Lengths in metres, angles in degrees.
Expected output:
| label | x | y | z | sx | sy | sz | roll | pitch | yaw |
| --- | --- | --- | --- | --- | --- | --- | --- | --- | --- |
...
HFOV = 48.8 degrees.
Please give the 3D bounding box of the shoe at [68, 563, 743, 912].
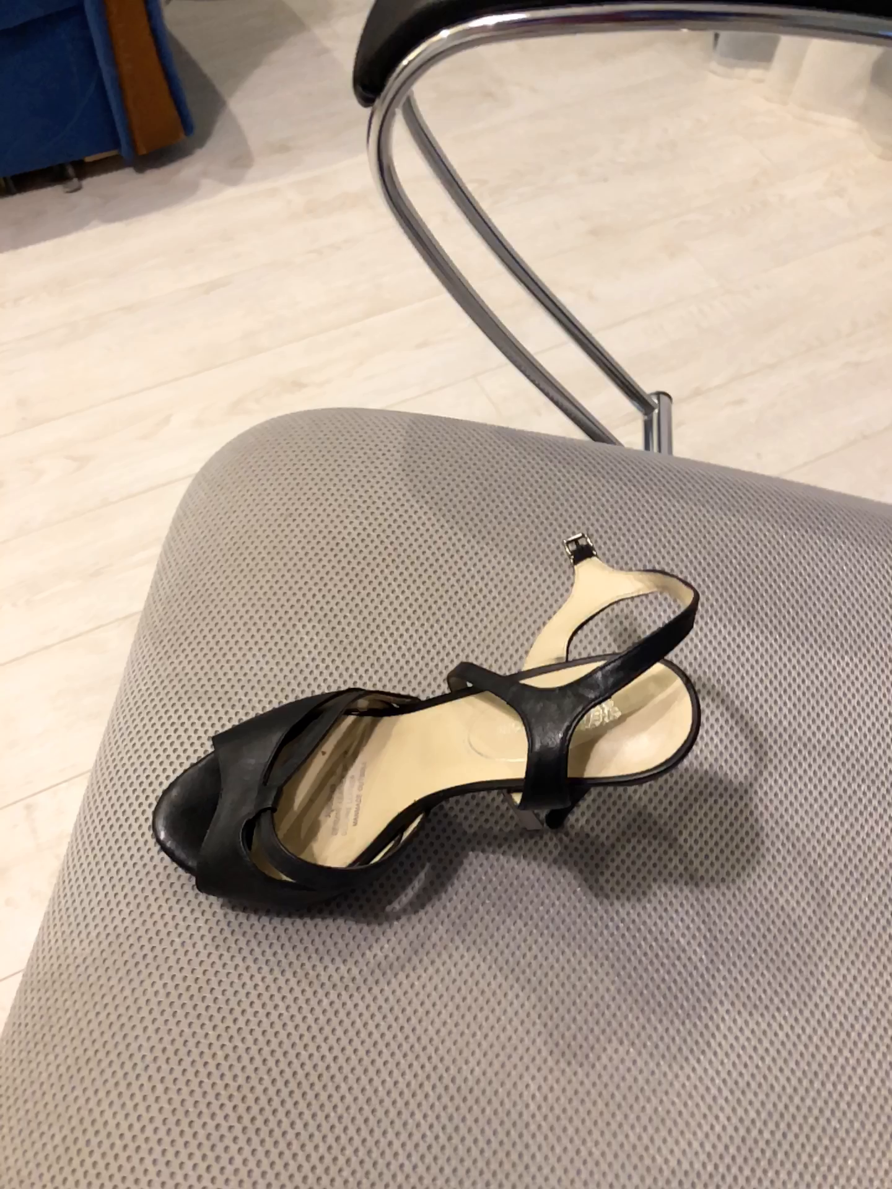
| label | x | y | z | sx | sy | sz | roll | pitch | yaw |
| --- | --- | --- | --- | --- | --- | --- | --- | --- | --- |
| shoe | -0.014 | 0.061 | 0.381 | 0.210 | 0.119 | 0.090 | 1 | 58 | -2 |
